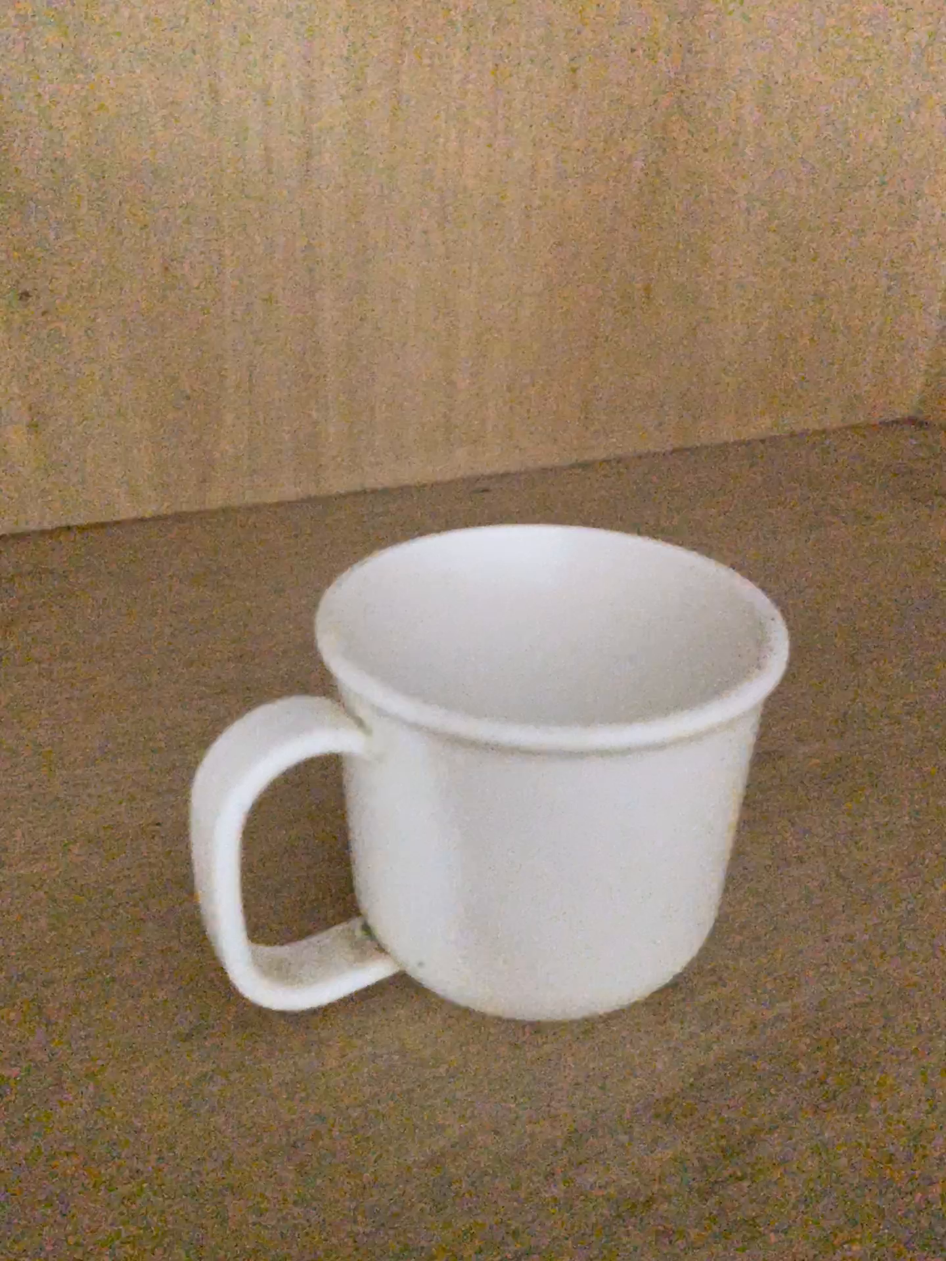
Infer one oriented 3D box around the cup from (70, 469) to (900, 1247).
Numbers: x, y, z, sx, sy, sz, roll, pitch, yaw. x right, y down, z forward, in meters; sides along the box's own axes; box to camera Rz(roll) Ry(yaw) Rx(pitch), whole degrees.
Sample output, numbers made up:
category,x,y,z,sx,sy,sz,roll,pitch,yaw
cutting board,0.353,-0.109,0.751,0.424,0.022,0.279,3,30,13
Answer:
category,x,y,z,sx,sy,sz,roll,pitch,yaw
cup,0.001,0.024,0.177,0.110,0.069,0.080,-16,32,-30
